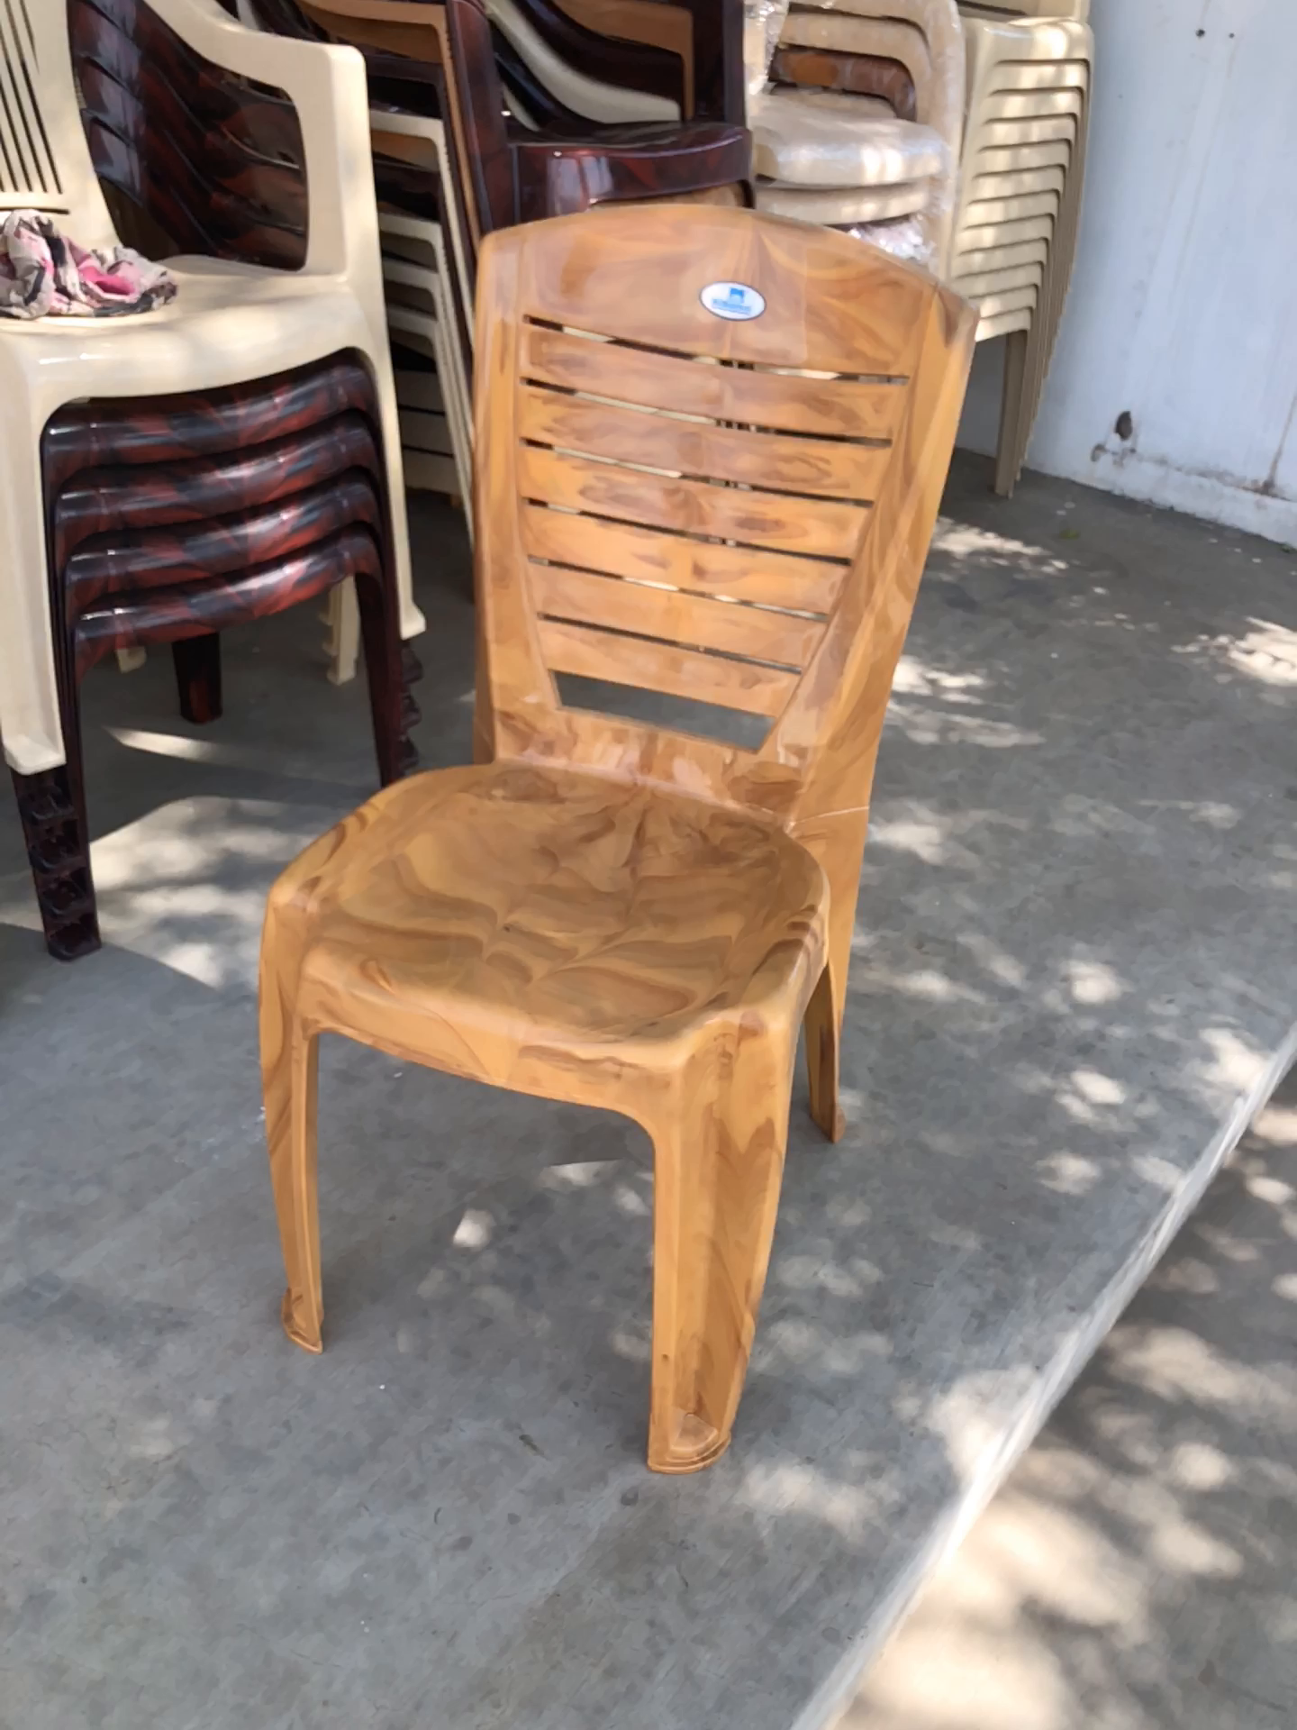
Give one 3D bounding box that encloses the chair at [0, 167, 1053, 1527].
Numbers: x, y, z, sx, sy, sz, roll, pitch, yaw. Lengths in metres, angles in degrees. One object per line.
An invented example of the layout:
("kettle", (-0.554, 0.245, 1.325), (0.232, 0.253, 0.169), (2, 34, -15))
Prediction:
("chair", (-0.038, -0.041, 1.124), (0.500, 0.816, 0.563), (12, 34, 12))
